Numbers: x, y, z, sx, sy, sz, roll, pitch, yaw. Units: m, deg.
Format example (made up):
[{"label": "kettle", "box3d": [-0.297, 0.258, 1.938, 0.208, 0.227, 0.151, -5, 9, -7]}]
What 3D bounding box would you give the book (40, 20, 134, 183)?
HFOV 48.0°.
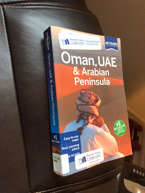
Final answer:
[{"label": "book", "box3d": [0.028, 0.002, 0.252, 0.138, 0.030, 0.203, -3, 87, -33]}]
